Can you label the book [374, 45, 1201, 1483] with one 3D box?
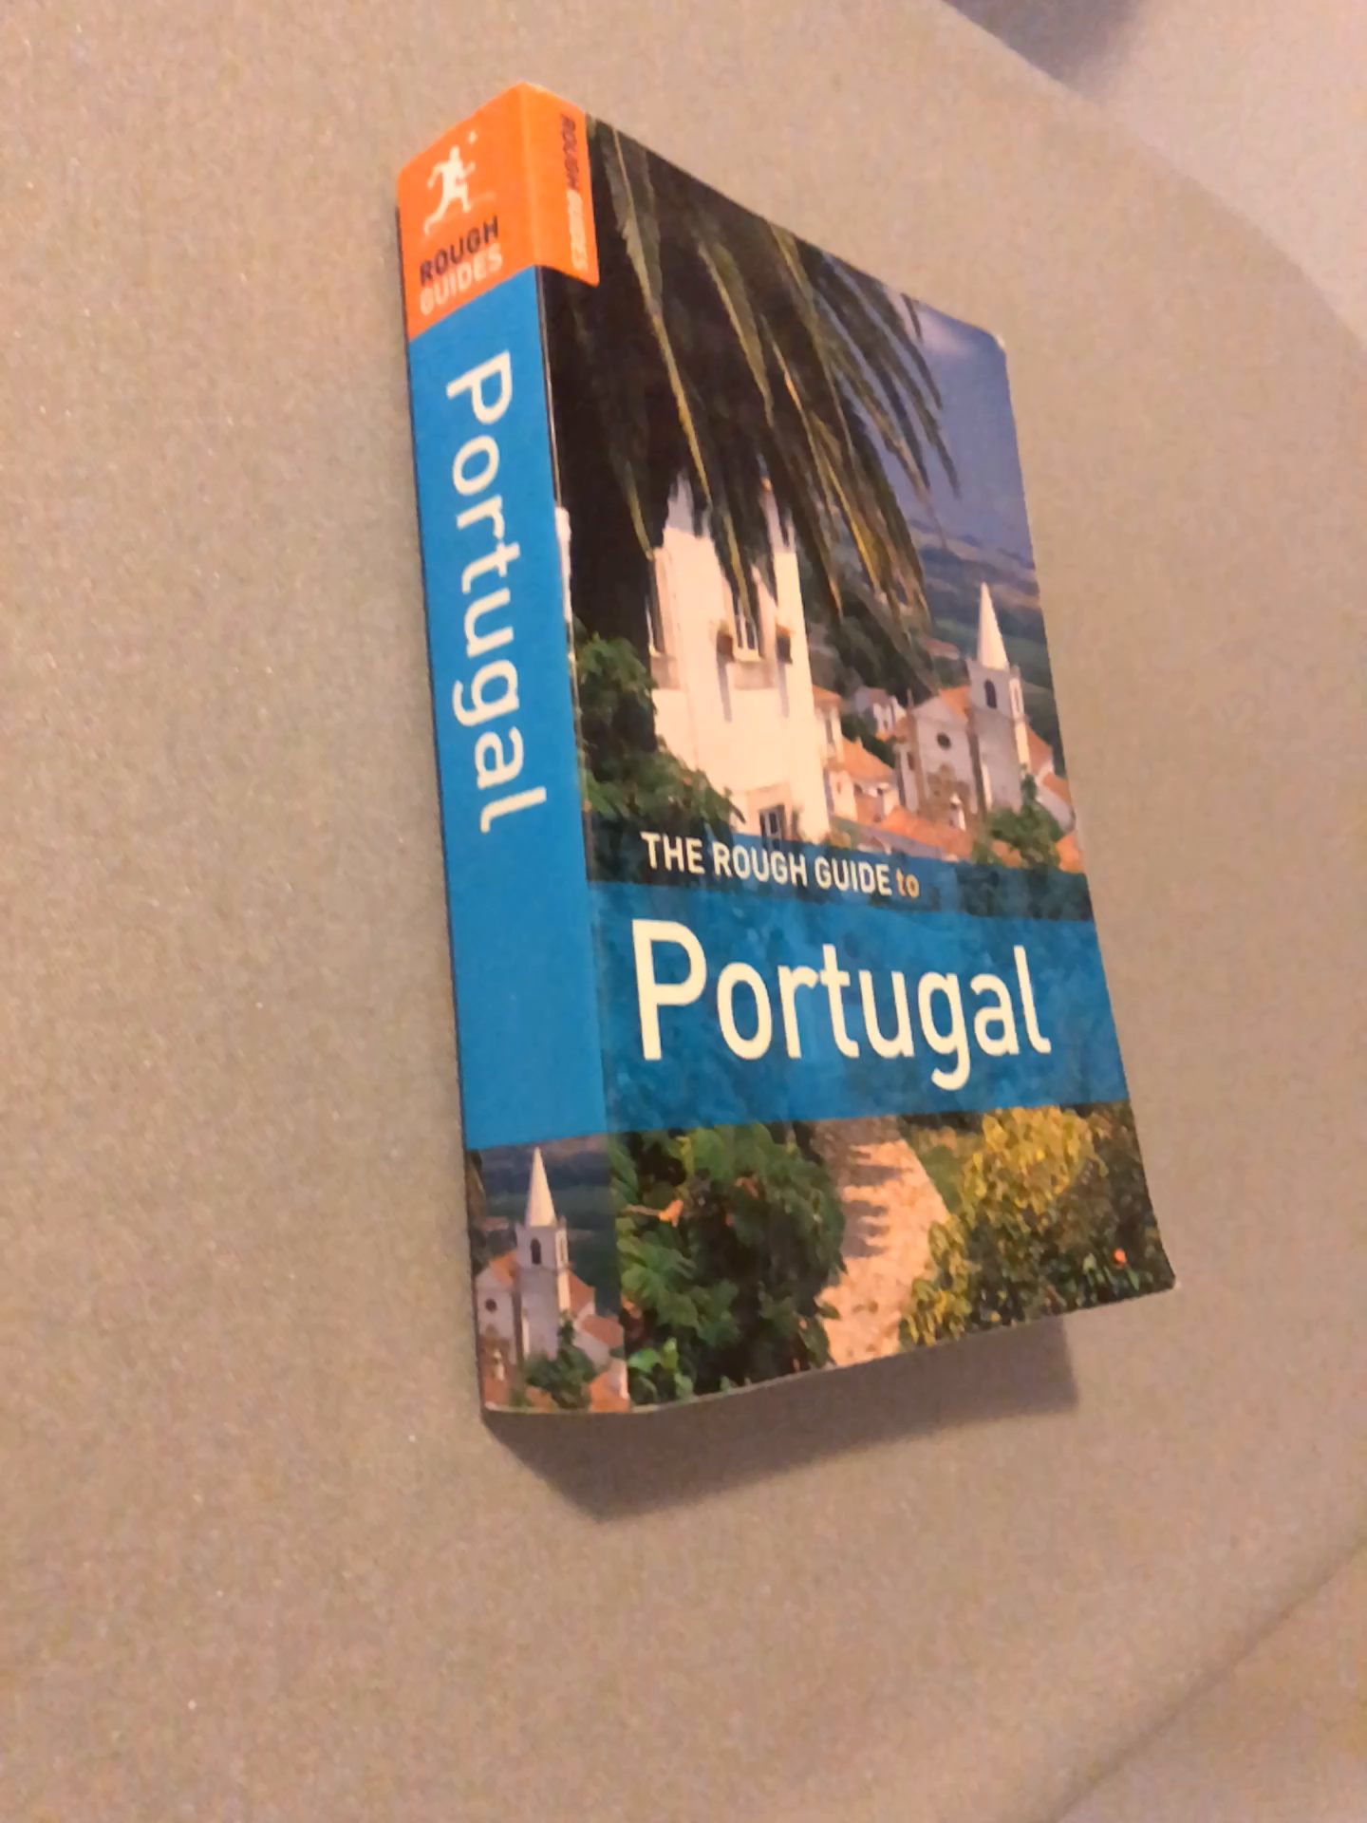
[{"bbox_3d":[0.023,-0.021,0.272,0.139,0.040,0.204,4,75,-45],"label":"book"}]
